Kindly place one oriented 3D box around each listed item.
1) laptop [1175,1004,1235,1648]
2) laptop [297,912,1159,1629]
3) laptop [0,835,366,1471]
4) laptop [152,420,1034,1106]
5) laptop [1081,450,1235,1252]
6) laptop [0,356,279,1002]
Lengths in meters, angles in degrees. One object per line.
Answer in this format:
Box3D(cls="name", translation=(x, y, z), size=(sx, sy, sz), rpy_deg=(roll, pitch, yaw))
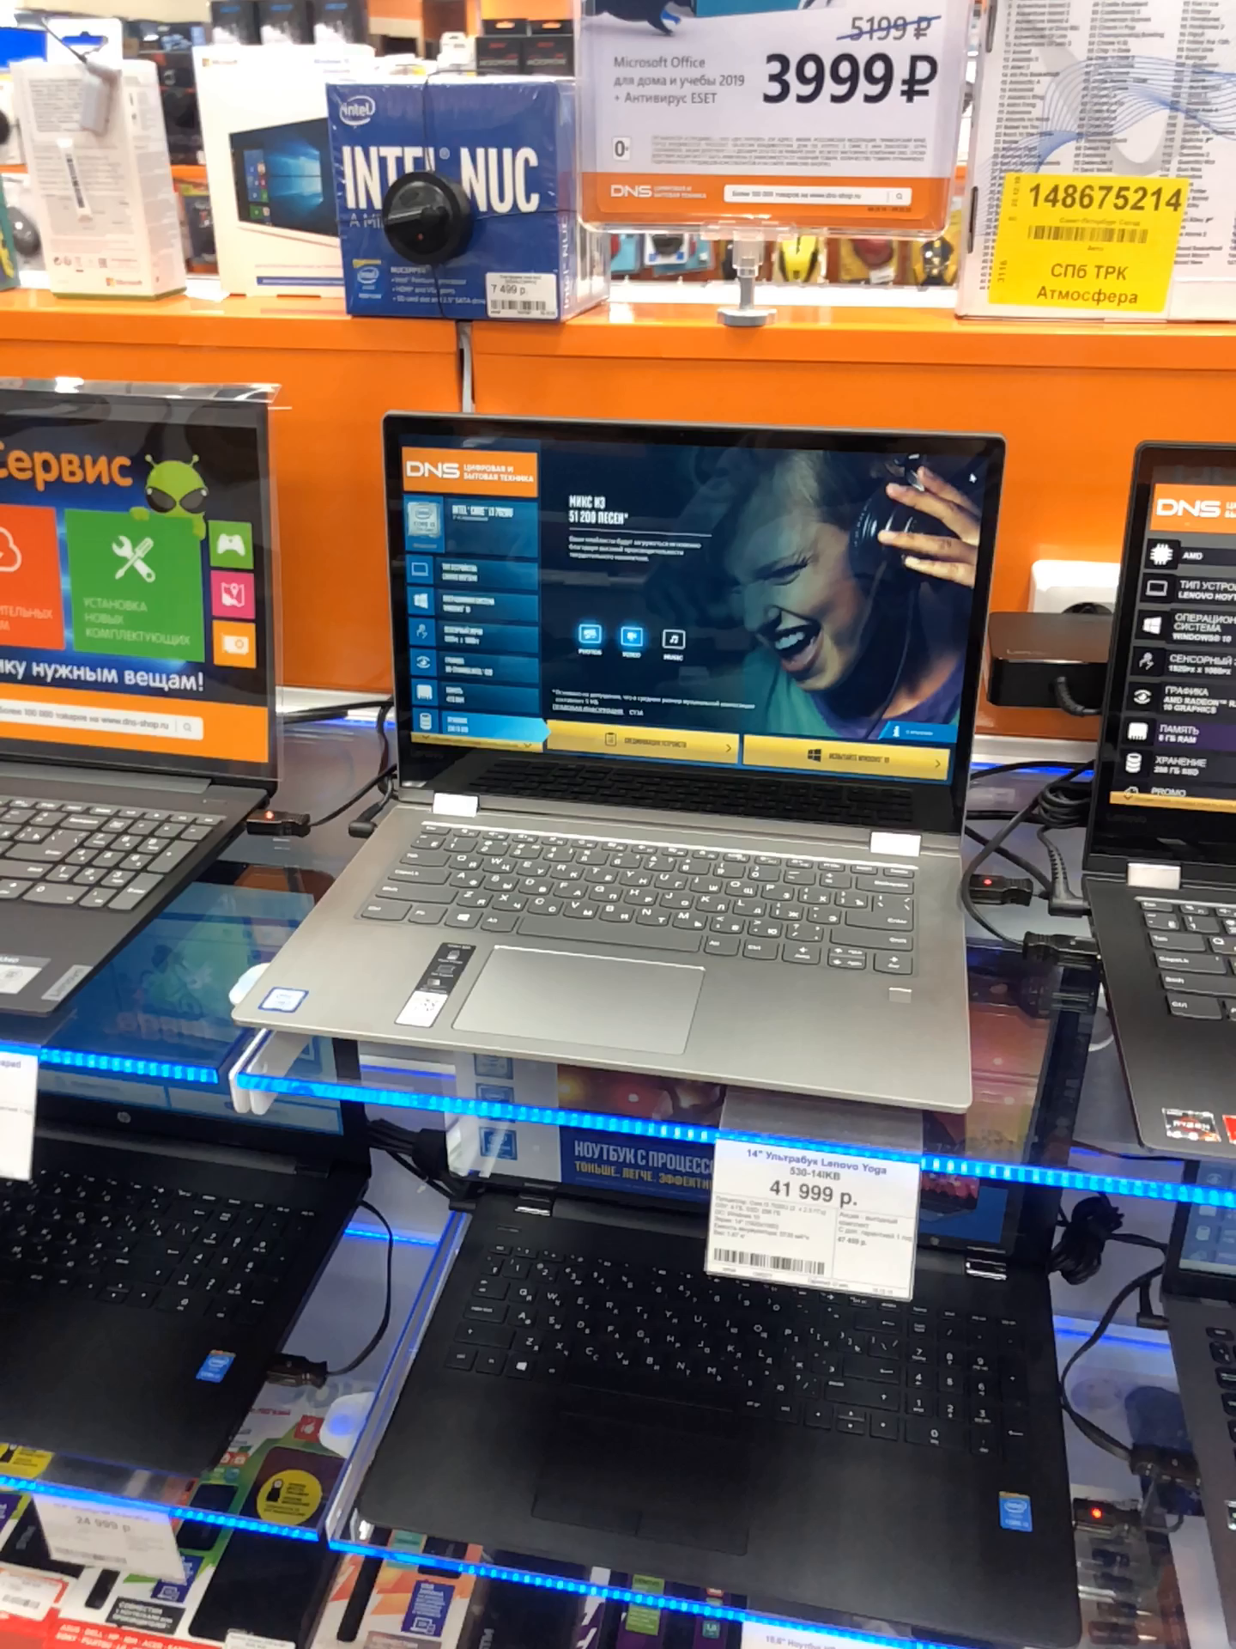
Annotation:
Box3D(cls="laptop", translation=(0.468, 0.251, 0.659), size=(0.308, 0.213, 0.238), rpy_deg=(4, 26, 13))
Box3D(cls="laptop", translation=(0.066, 0.217, 0.738), size=(0.367, 0.207, 0.264), rpy_deg=(4, 28, 10))
Box3D(cls="laptop", translation=(-0.388, 0.180, 0.830), size=(0.378, 0.235, 0.240), rpy_deg=(5, 28, 11))
Box3D(cls="laptop", translation=(0.008, -0.050, 0.624), size=(0.315, 0.212, 0.239), rpy_deg=(5, 28, 11))
Box3D(cls="laptop", translation=(0.370, -0.017, 0.551), size=(0.290, 0.209, 0.249), rpy_deg=(5, 28, 11))
Box3D(cls="laptop", translation=(-0.386, -0.094, 0.689), size=(0.305, 0.212, 0.280), rpy_deg=(5, 28, 6))
